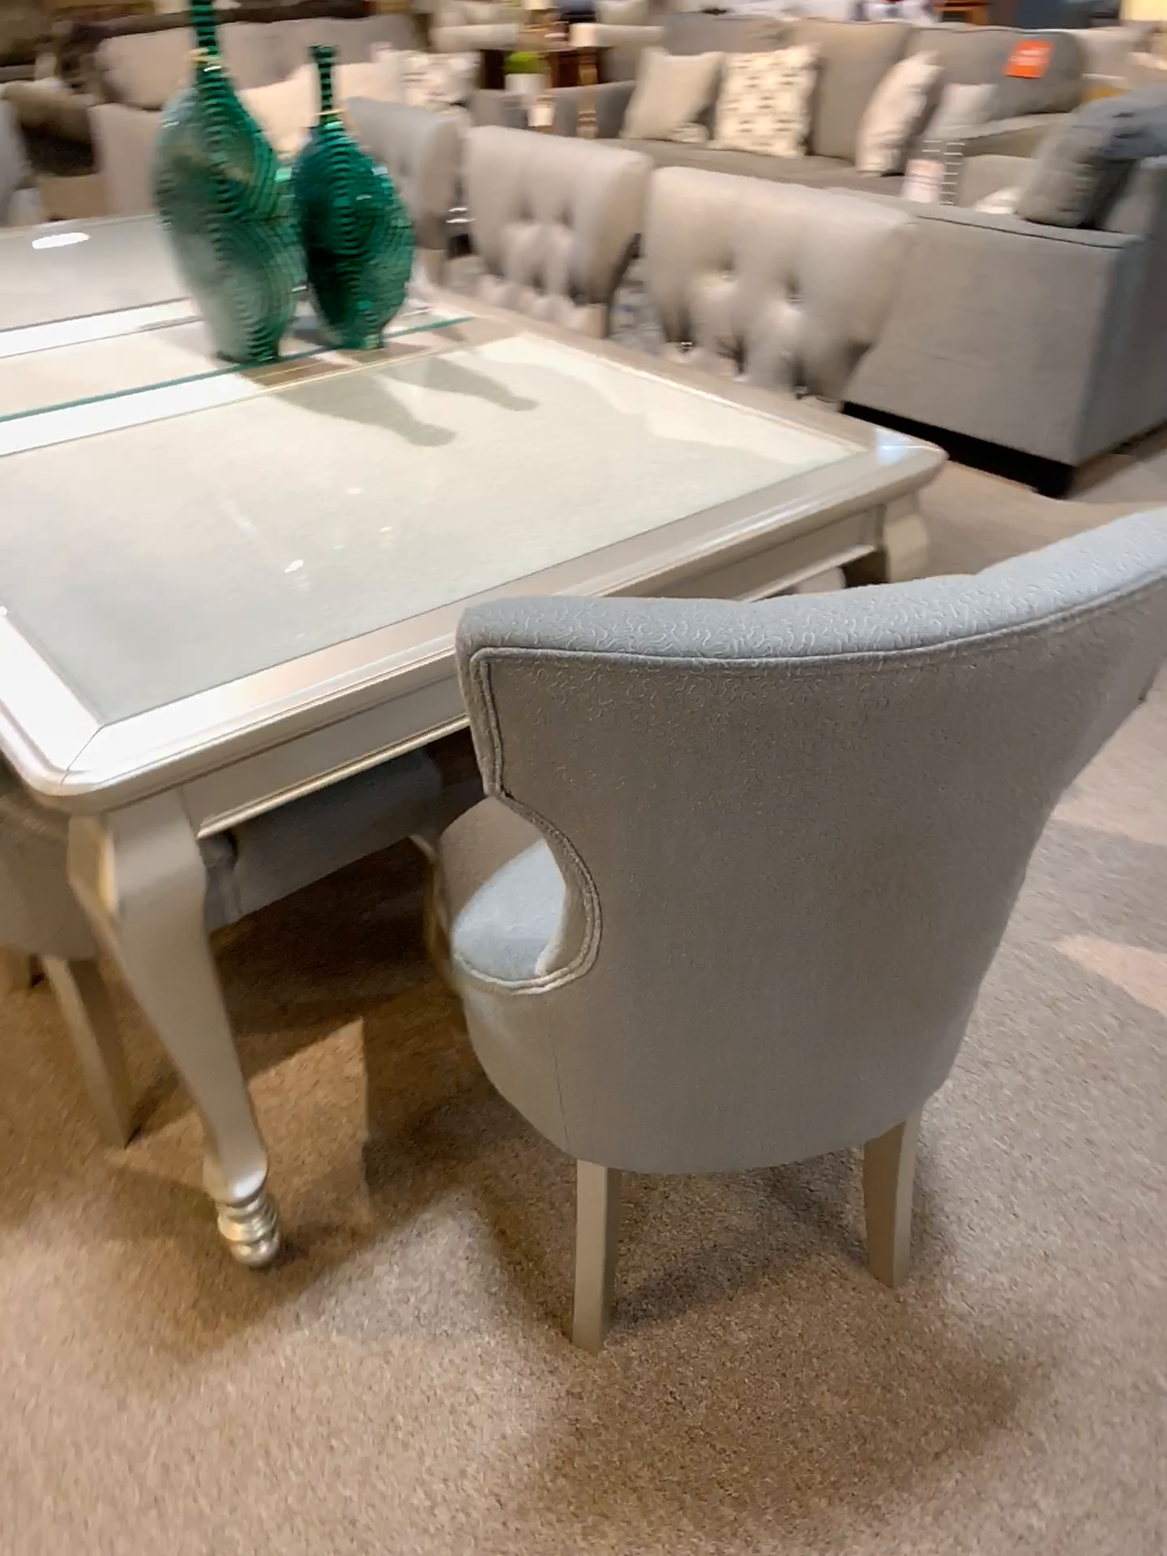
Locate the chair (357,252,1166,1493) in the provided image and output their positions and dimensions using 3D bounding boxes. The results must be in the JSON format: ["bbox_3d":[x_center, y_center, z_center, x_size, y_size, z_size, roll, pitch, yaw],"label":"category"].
[{"bbox_3d":[0.150,0.060,1.172,0.580,0.915,0.683,-8,36,-11],"label":"chair"}]
